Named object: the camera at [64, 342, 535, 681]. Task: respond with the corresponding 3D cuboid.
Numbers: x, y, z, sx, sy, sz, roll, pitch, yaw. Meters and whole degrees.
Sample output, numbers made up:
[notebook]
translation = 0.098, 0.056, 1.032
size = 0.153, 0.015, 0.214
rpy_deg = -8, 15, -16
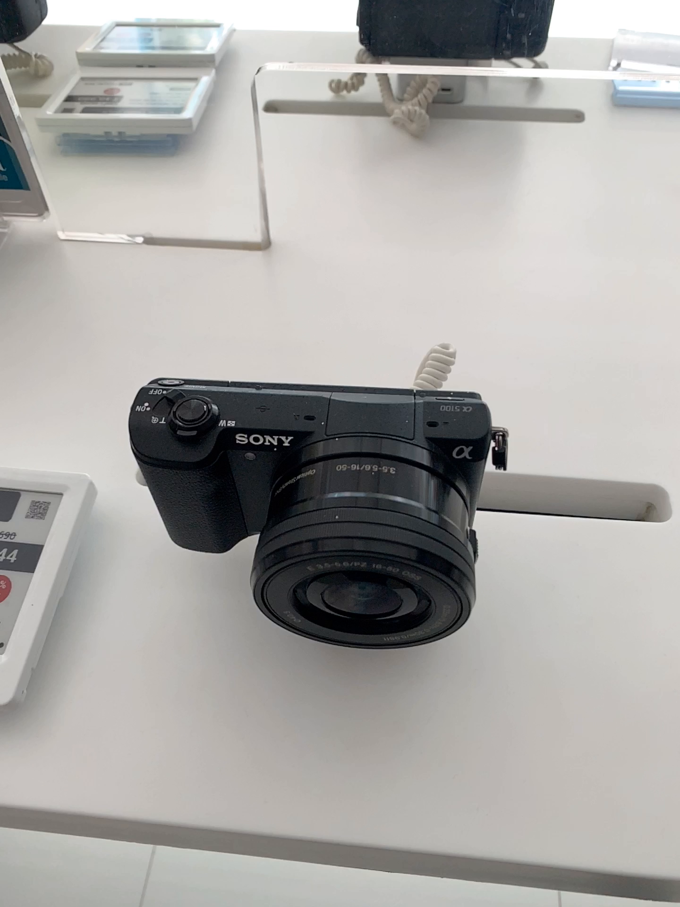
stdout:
[camera]
translation = -0.007, 0.020, 0.213
size = 0.110, 0.080, 0.060
rpy_deg = 4, 52, 4
